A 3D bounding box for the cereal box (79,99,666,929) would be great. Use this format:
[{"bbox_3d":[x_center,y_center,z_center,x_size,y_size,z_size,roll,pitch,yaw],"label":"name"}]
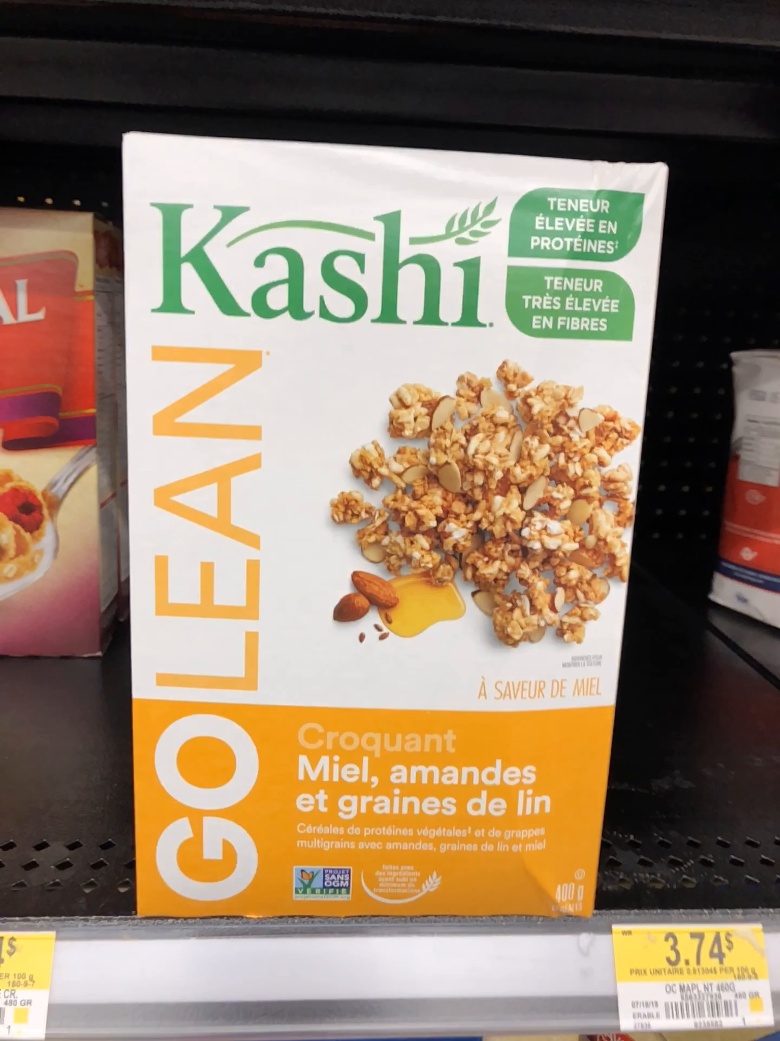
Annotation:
[{"bbox_3d":[-0.011,0.008,0.304,0.170,0.269,0.050,2,13,-3],"label":"cereal box"}]
